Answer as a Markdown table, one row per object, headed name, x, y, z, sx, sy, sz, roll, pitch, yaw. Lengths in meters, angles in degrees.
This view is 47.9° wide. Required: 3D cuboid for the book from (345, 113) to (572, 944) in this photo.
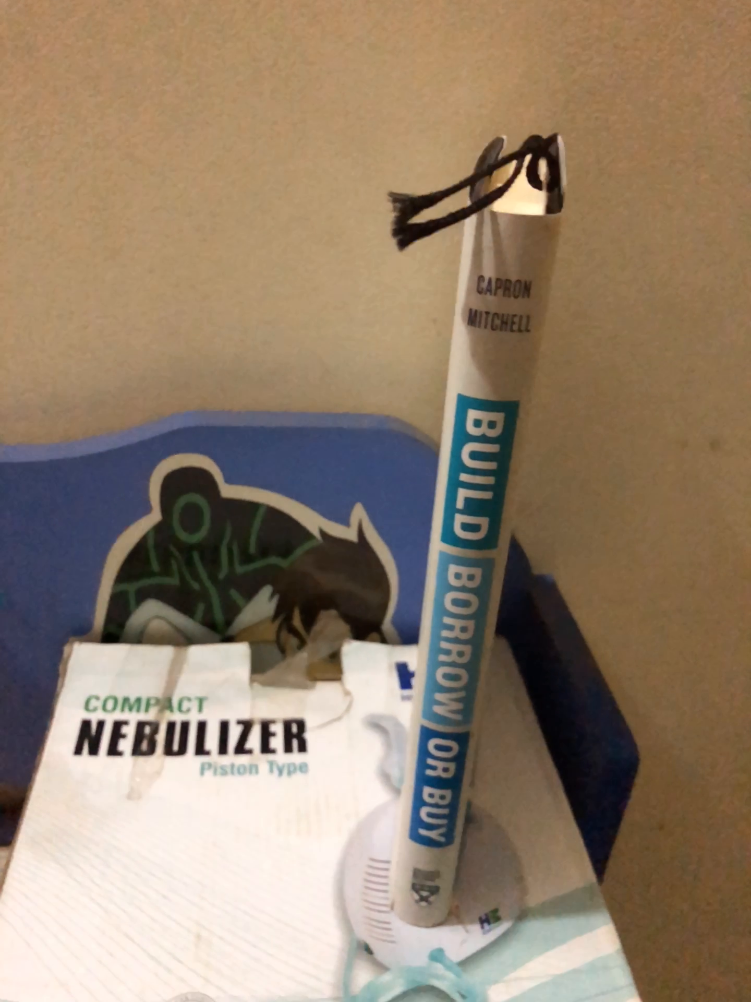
| name | x | y | z | sx | sy | sz | roll | pitch | yaw |
| --- | --- | --- | --- | --- | --- | --- | --- | --- | --- |
| book | 0.030 | -0.001 | 0.307 | 0.040 | 0.239 | 0.181 | 7 | 30 | 7 |
